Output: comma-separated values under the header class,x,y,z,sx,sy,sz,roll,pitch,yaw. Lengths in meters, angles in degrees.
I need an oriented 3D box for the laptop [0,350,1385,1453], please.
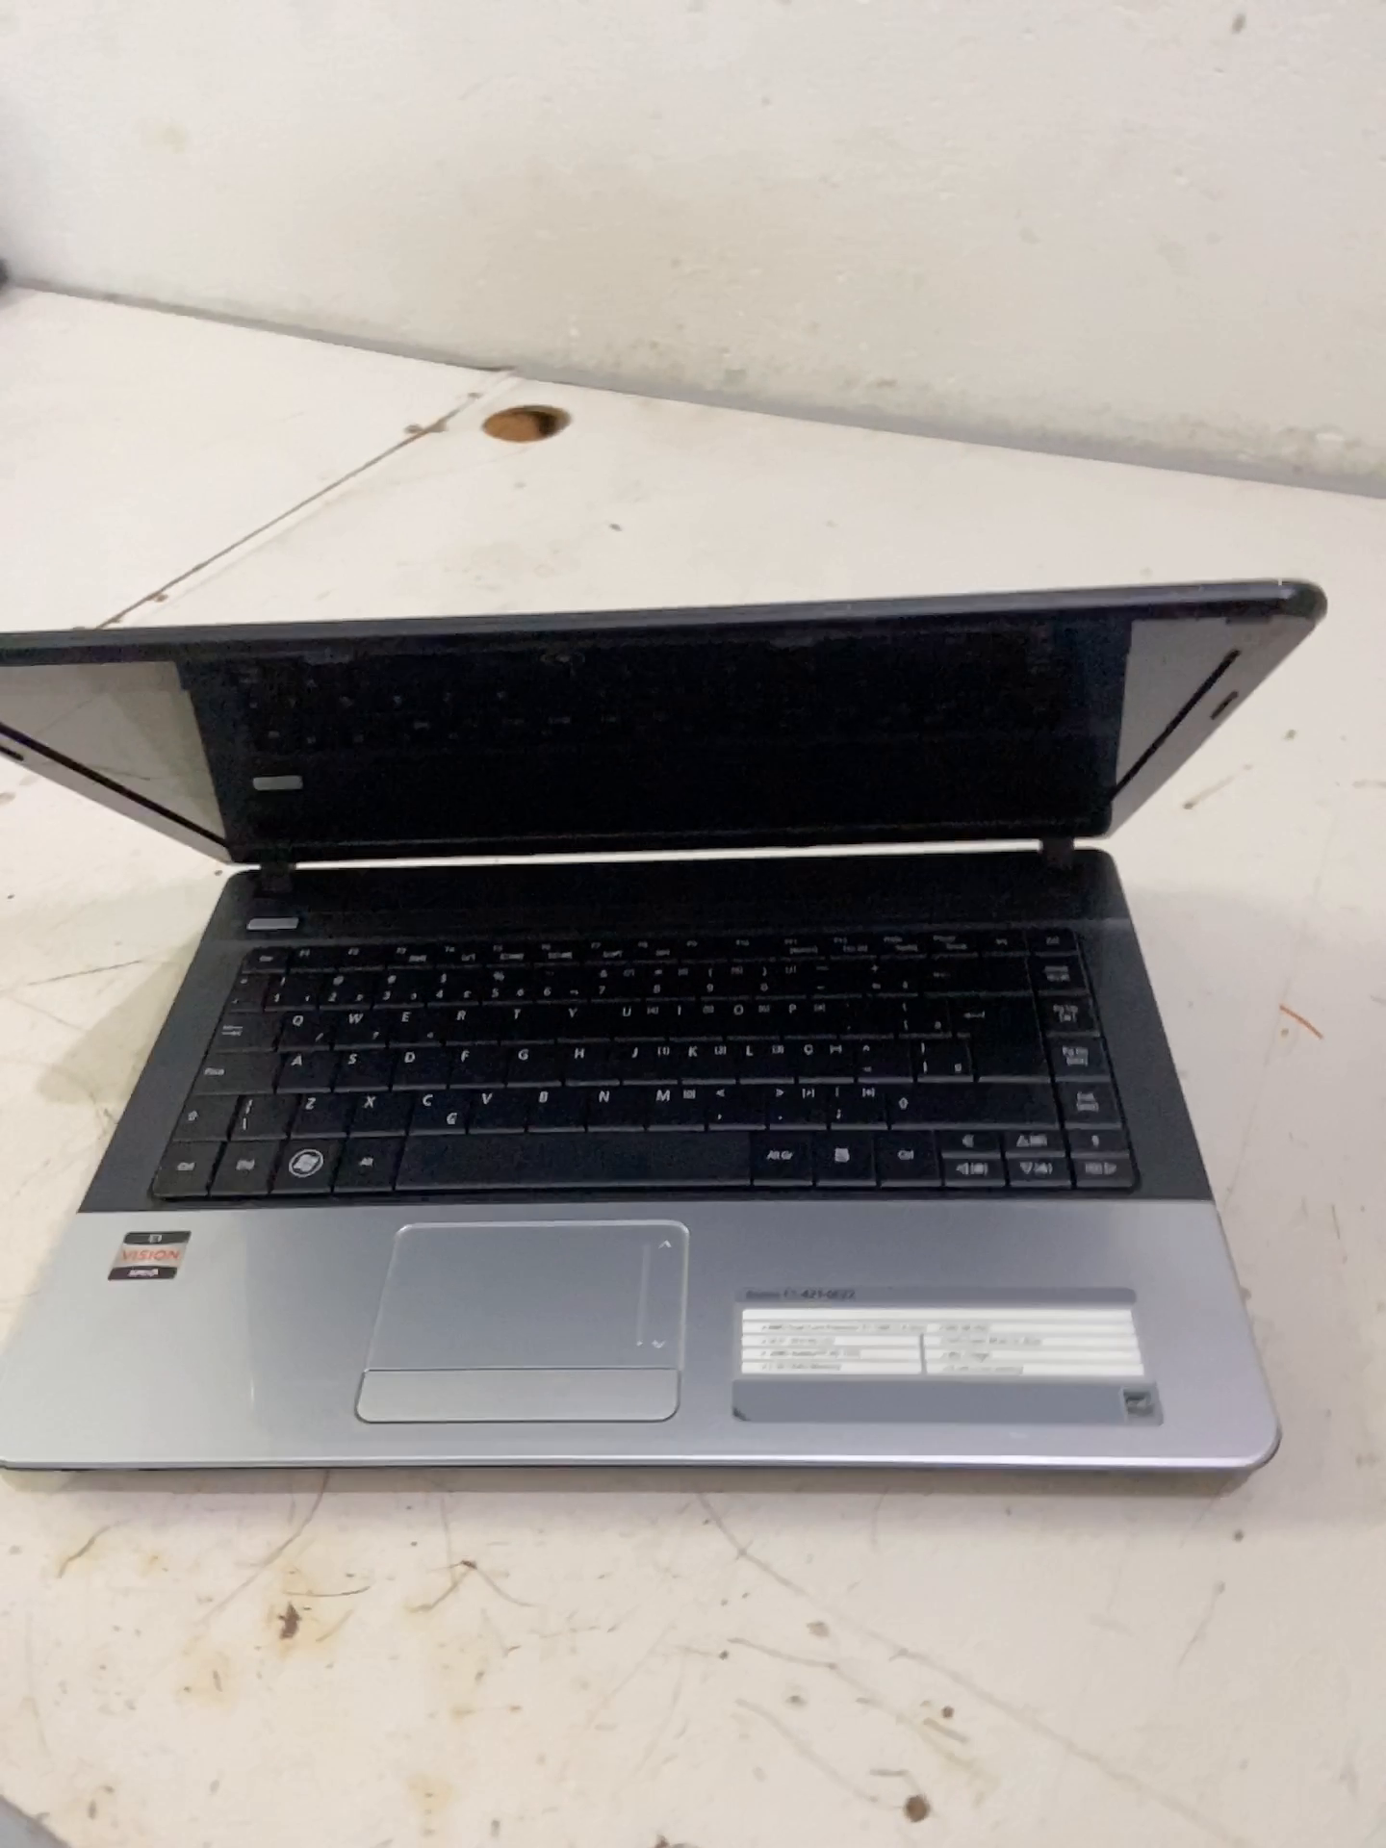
class,x,y,z,sx,sy,sz,roll,pitch,yaw
laptop,-0.022,-0.013,0.394,0.333,0.184,0.239,-1,42,4
